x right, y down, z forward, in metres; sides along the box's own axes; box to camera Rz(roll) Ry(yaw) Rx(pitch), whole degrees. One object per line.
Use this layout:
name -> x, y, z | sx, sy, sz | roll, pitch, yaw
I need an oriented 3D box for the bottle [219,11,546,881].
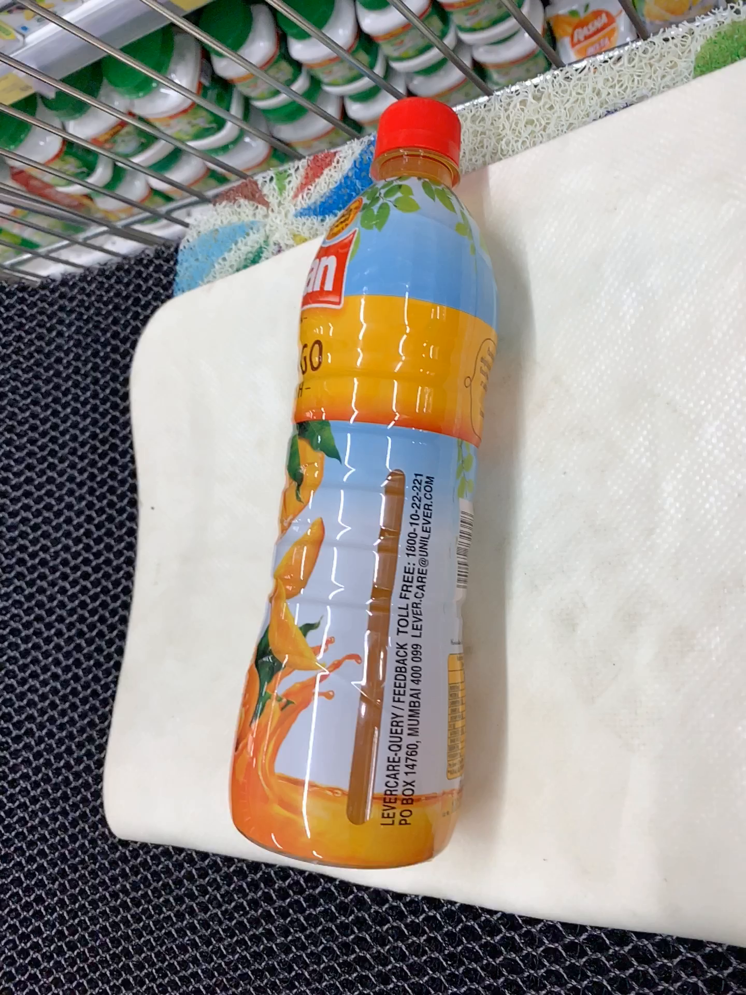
bottle -> 0.003, -0.015, 0.241 | 0.080, 0.070, 0.230 | 2, 88, 1
